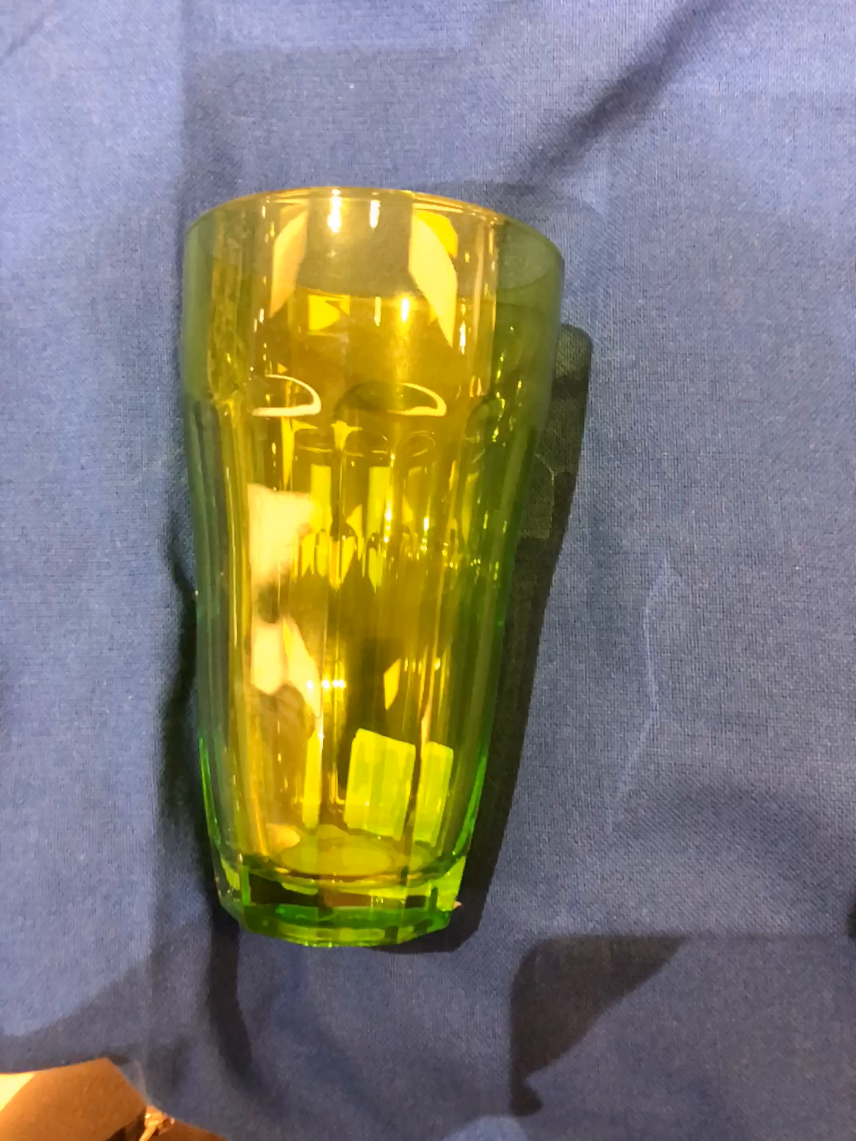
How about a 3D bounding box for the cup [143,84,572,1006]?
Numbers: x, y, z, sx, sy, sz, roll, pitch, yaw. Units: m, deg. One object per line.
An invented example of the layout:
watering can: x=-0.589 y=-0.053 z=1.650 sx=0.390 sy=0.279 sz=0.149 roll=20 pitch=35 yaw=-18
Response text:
cup: x=-0.013 y=-0.004 z=0.203 sx=0.070 sy=0.070 sz=0.160 roll=2 pitch=90 yaw=0
